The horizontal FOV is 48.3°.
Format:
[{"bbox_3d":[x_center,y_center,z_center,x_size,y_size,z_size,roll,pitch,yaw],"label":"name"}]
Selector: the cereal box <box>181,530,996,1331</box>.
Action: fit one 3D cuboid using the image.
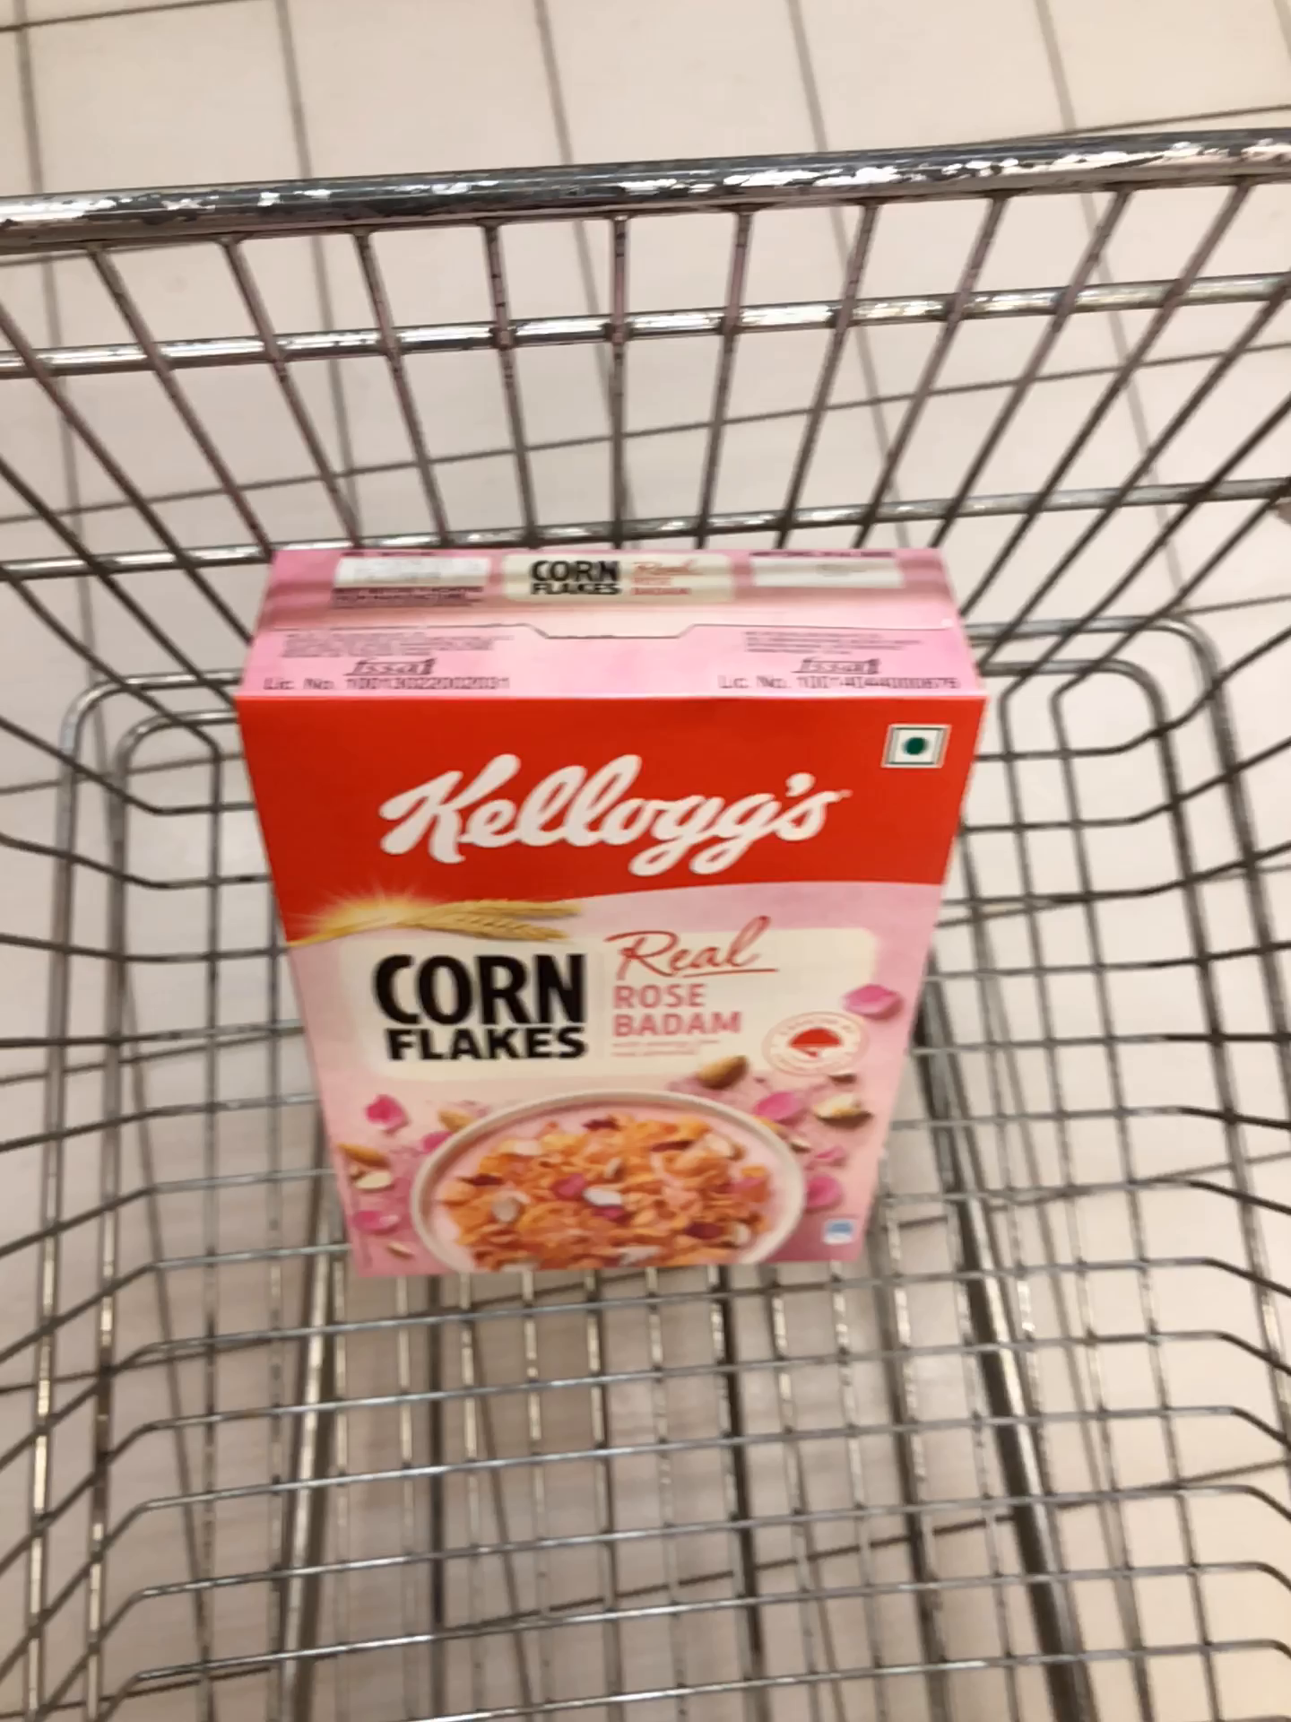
[{"bbox_3d":[-0.016,0.036,0.436,0.180,0.259,0.080,-1,43,-3],"label":"cereal box"}]
